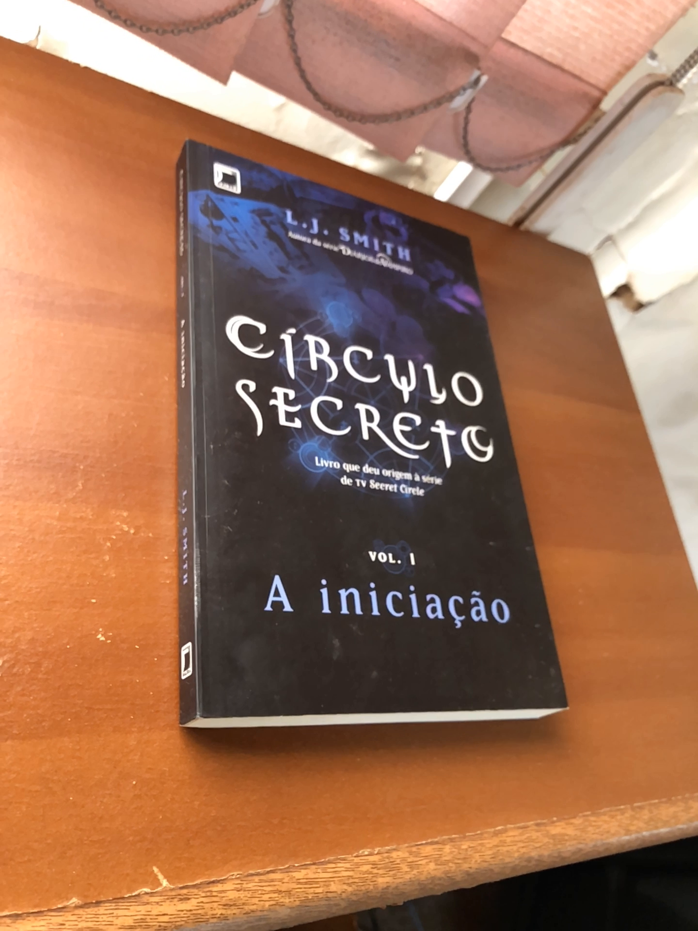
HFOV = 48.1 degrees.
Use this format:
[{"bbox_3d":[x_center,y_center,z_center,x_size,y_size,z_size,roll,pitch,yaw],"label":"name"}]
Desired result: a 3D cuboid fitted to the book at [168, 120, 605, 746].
[{"bbox_3d":[0.008,-0.016,0.283,0.141,0.024,0.214,9,59,-31],"label":"book"}]
